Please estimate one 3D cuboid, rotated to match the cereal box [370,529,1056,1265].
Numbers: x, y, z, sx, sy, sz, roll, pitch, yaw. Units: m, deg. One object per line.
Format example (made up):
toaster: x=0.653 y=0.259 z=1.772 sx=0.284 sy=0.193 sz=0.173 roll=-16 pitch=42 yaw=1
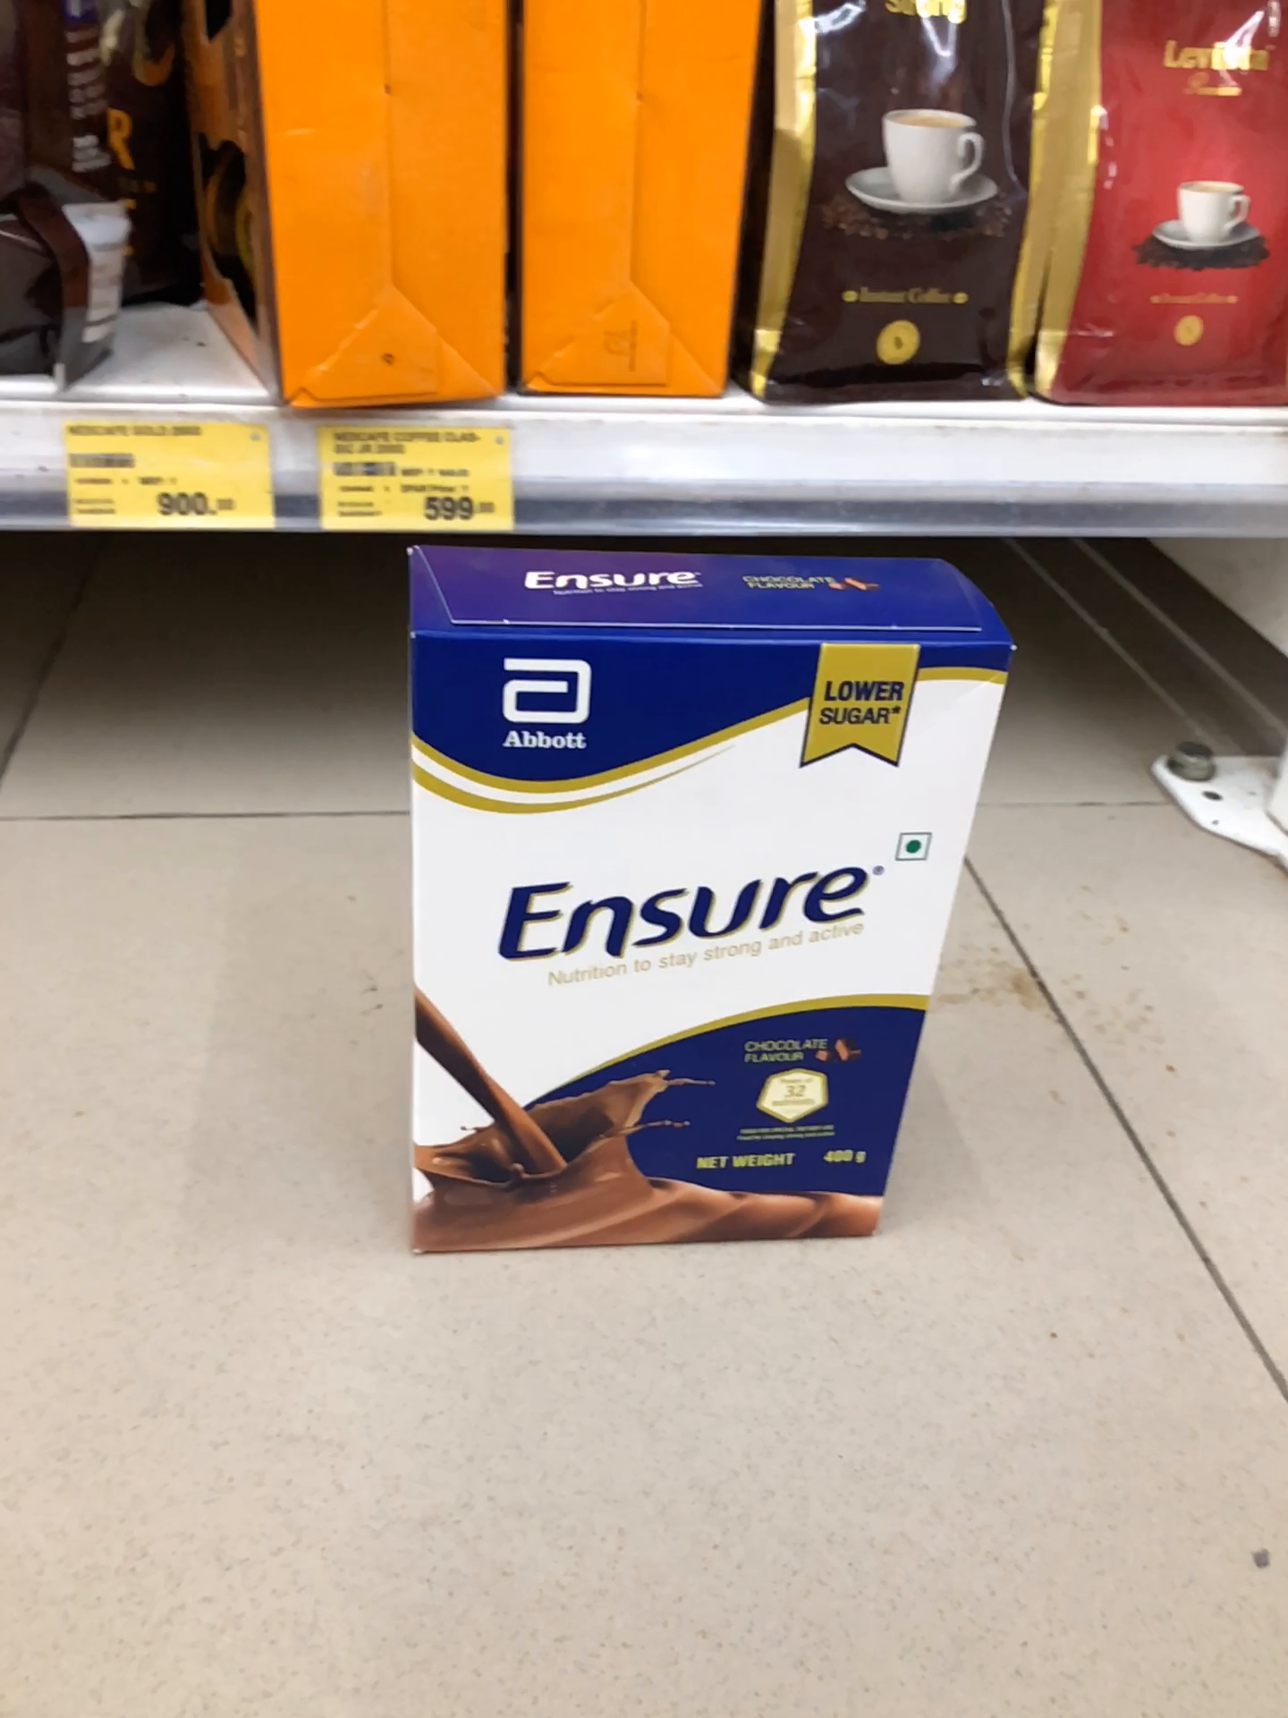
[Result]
cereal box: x=0.009 y=0.014 z=0.362 sx=0.140 sy=0.179 sz=0.060 roll=-1 pitch=33 yaw=-6
